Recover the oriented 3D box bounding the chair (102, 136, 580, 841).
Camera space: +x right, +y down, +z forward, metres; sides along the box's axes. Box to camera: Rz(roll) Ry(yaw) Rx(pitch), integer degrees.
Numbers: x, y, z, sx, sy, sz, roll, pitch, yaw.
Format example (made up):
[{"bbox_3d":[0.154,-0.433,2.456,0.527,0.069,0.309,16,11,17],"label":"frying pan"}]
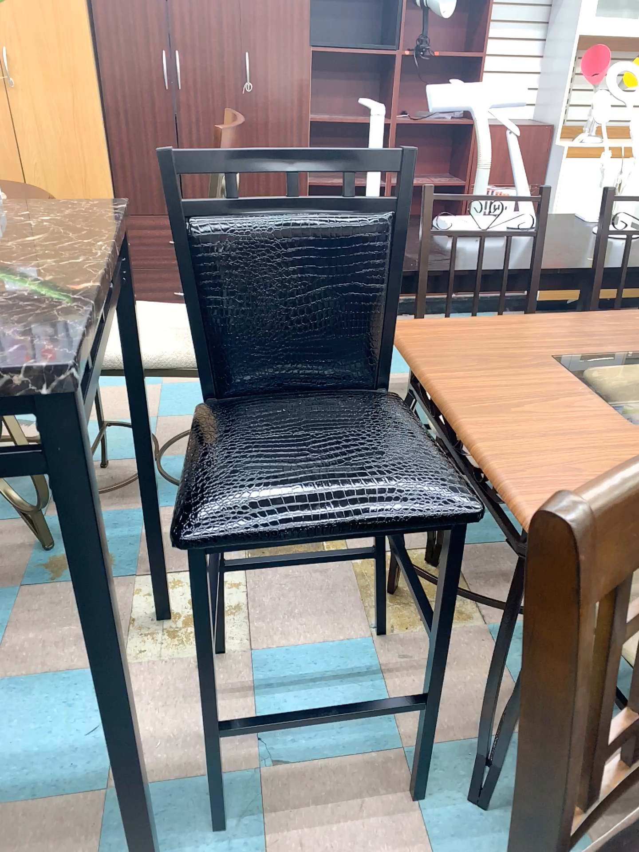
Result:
[{"bbox_3d":[-0.007,0.123,1.026,0.444,1.025,0.419,-3,30,-7],"label":"chair"}]
